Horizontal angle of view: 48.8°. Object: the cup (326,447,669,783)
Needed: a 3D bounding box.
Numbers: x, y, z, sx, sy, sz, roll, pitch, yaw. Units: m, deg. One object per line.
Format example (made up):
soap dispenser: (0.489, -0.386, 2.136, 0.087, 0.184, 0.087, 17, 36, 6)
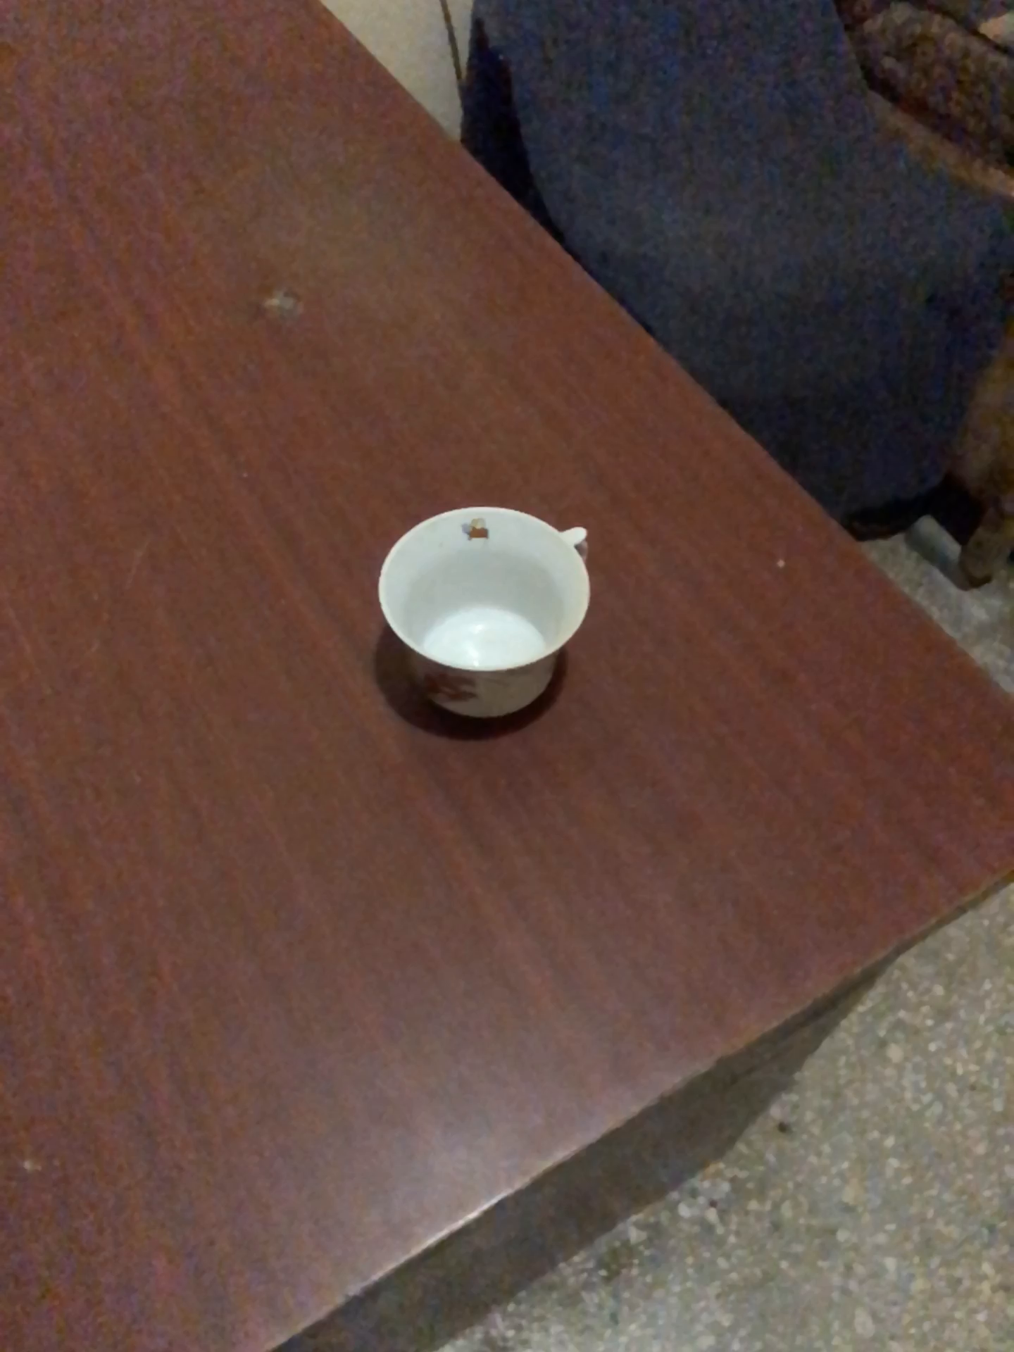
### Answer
cup: (-0.005, -0.030, 0.507, 0.110, 0.059, 0.100, -34, 63, -22)
